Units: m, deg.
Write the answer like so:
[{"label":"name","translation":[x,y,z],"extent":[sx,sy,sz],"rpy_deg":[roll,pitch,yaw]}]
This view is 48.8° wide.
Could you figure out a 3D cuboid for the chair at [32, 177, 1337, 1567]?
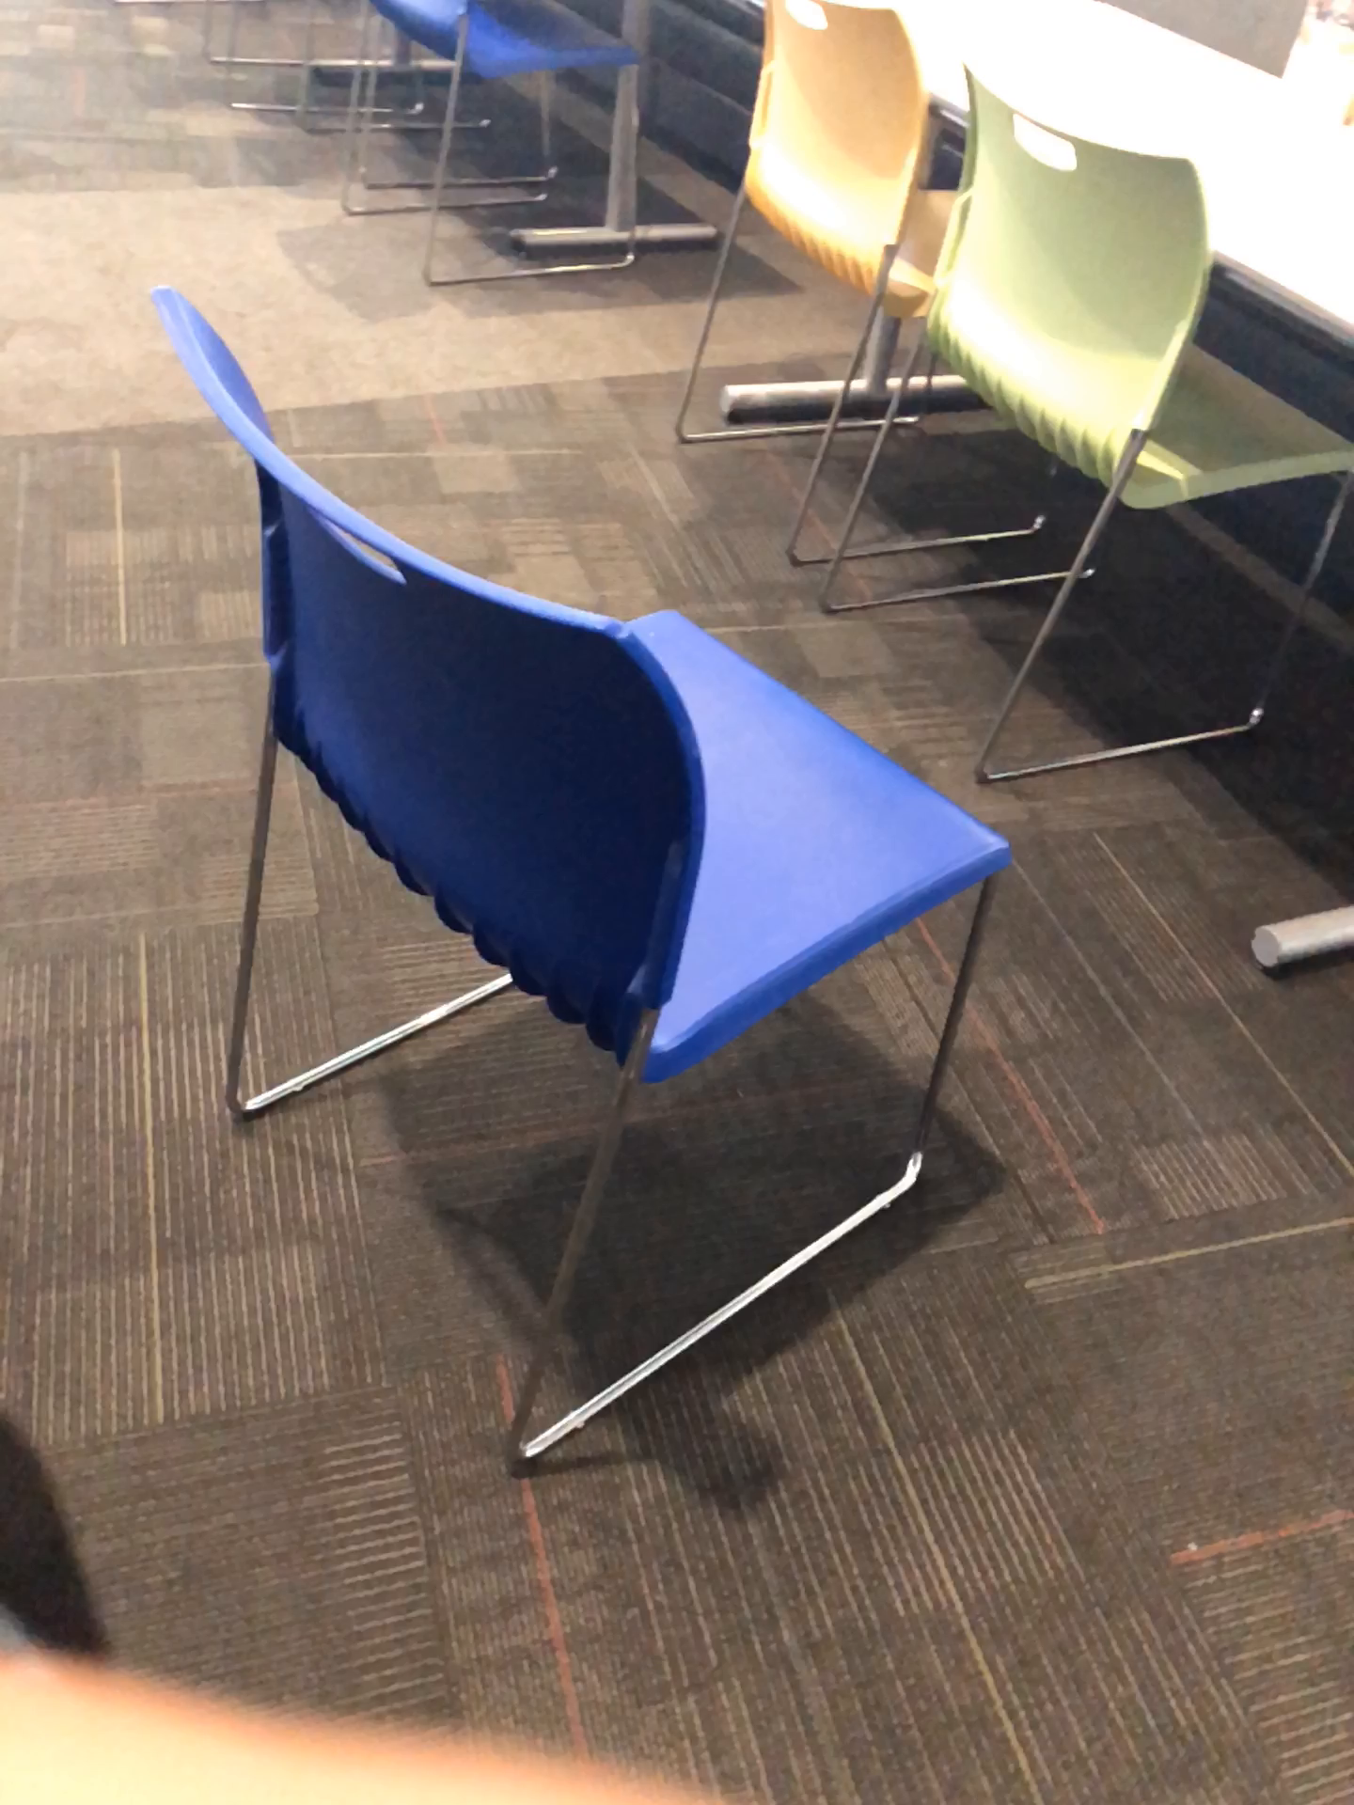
[{"label":"chair","translation":[-0.035,-0.058,1.182],"extent":[0.591,0.756,0.582],"rpy_deg":[-25,51,-33]}]
